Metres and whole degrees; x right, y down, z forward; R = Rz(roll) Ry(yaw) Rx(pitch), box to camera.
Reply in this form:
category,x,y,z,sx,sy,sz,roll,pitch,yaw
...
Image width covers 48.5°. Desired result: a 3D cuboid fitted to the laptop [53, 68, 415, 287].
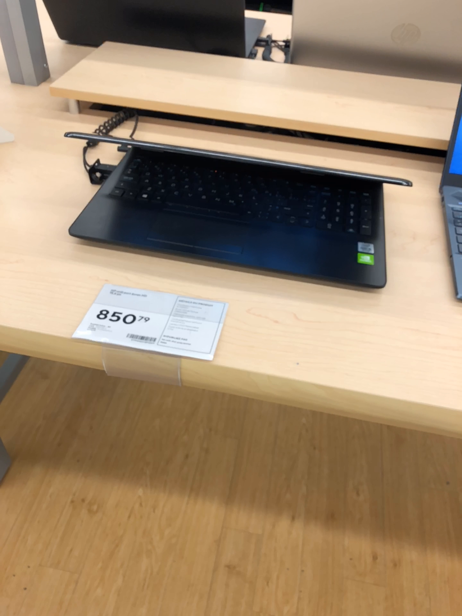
category,x,y,z,sx,sy,sz,roll,pitch,yaw
laptop,0.012,-0.178,0.639,0.371,0.115,0.240,10,43,7
